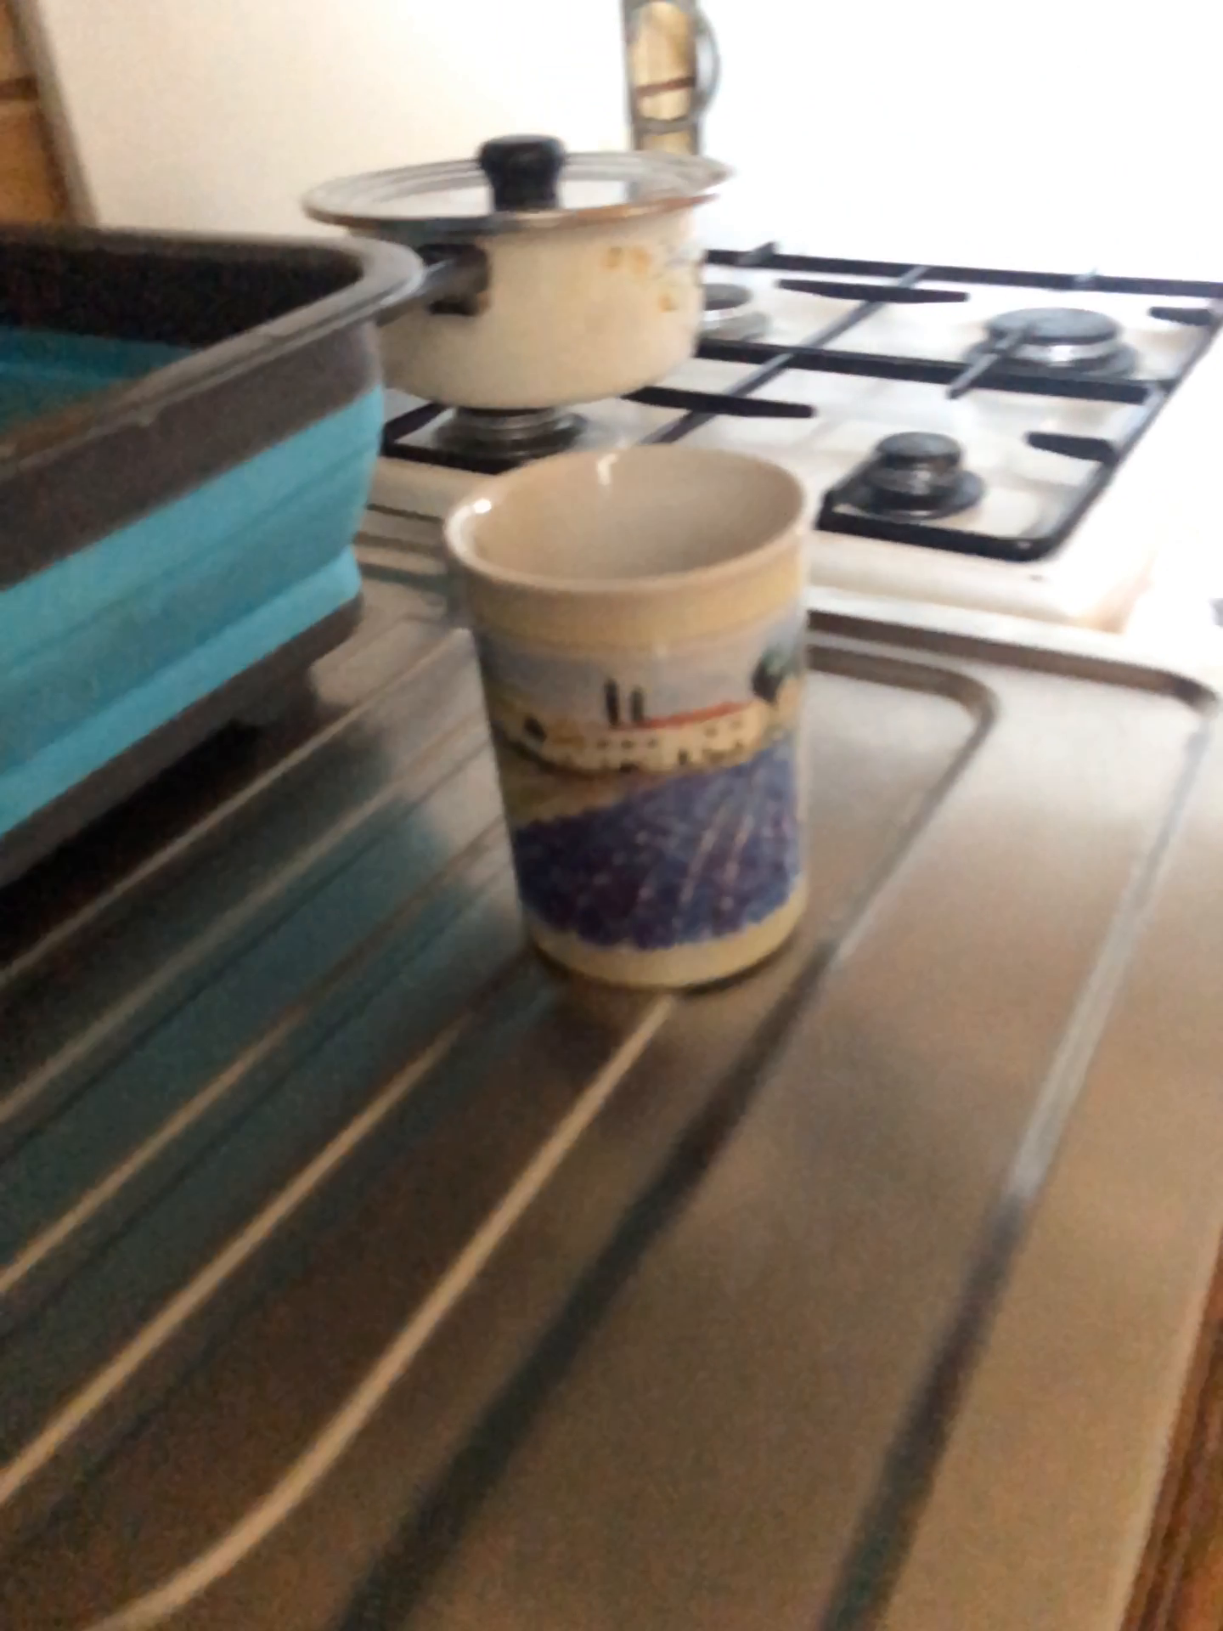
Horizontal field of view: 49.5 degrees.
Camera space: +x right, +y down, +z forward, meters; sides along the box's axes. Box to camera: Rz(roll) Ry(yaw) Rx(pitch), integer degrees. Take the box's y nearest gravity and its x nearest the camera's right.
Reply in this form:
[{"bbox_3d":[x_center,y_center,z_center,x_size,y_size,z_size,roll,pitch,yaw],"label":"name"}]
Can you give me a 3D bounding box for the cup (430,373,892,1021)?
[{"bbox_3d":[0.006,-0.033,0.306,0.070,0.099,0.111,-10,34,-10],"label":"cup"}]
